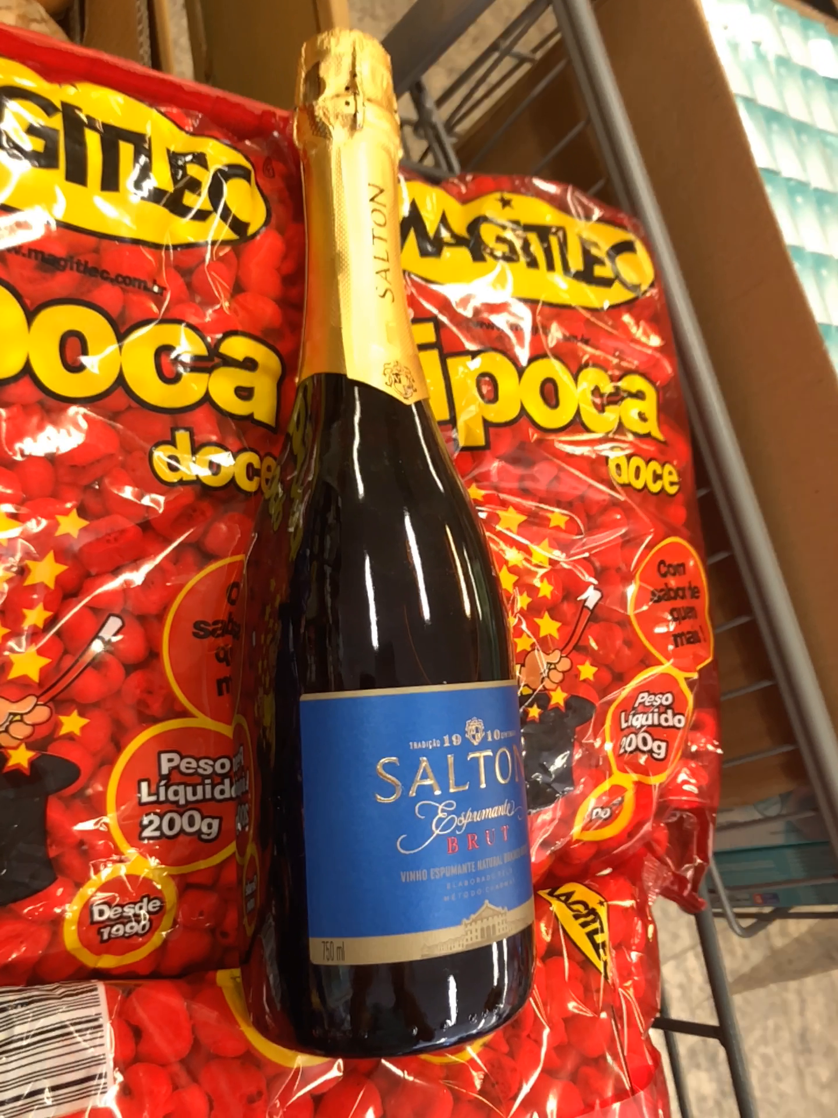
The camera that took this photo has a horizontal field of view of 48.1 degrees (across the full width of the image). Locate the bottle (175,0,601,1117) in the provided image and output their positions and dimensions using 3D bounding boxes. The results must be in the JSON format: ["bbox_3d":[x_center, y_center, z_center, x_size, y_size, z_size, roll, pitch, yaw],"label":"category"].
[{"bbox_3d":[-0.013,-0.023,0.282,0.090,0.080,0.310,2,85,-38],"label":"bottle"}]
